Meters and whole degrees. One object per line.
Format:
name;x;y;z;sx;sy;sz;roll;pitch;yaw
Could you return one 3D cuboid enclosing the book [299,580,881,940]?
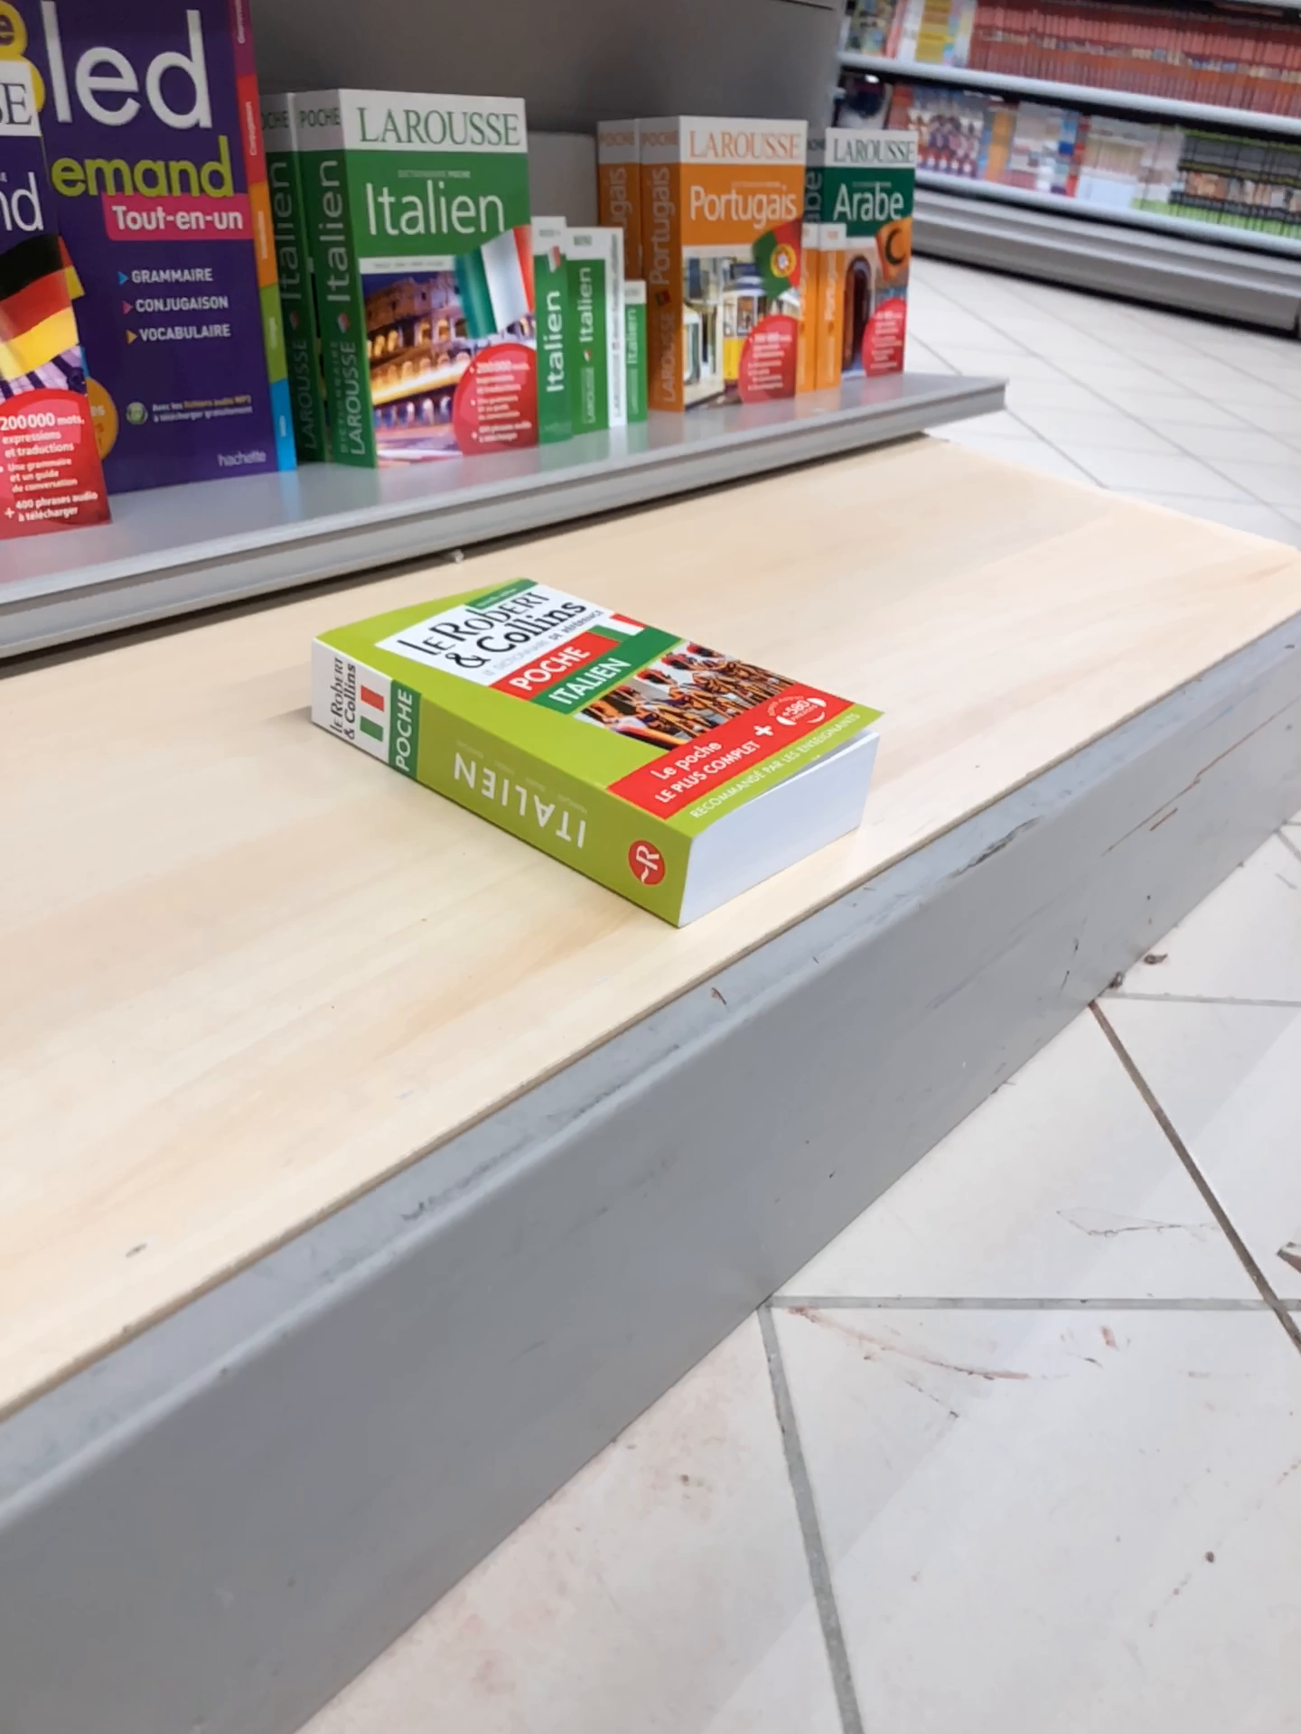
book;-0.024;-0.047;0.511;0.175;0.040;0.111;27;34;29
